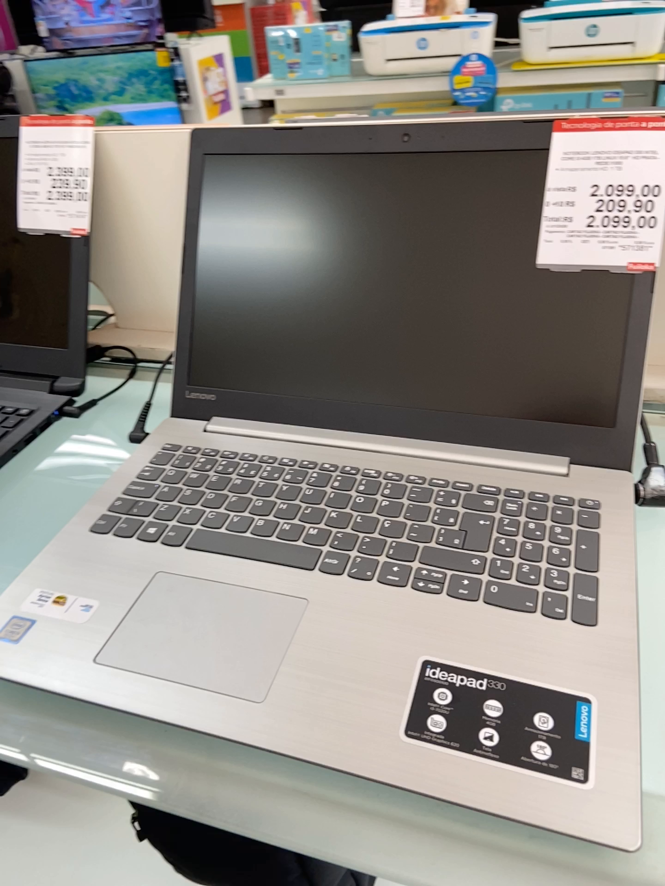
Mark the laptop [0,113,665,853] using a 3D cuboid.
[{"bbox_3d":[0.003,-0.048,0.425,0.370,0.194,0.391,7,38,19],"label":"laptop"}]
